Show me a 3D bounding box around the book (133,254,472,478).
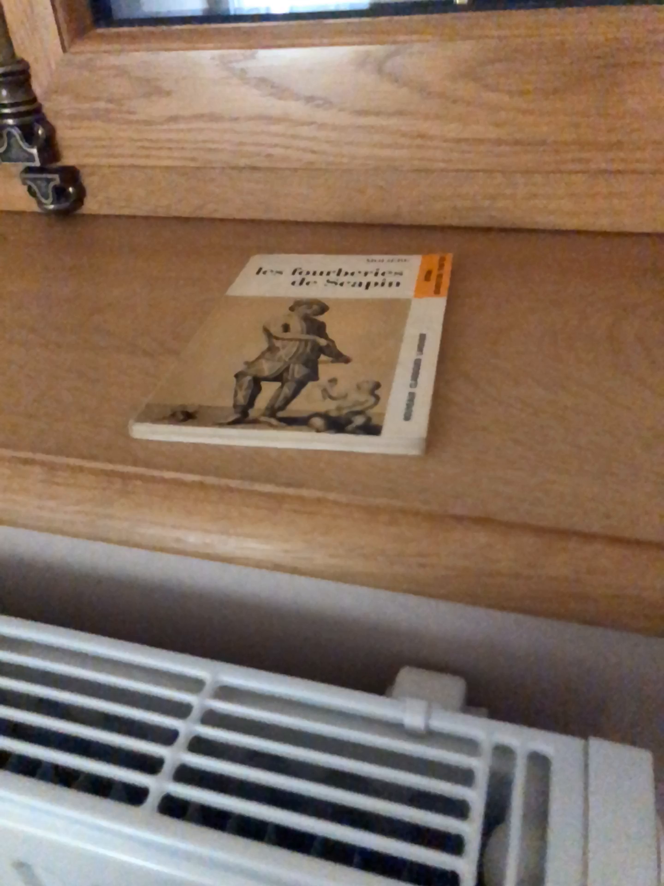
[{"bbox_3d":[0.001,-0.047,0.333,0.117,0.015,0.175,3,35,11],"label":"book"}]
